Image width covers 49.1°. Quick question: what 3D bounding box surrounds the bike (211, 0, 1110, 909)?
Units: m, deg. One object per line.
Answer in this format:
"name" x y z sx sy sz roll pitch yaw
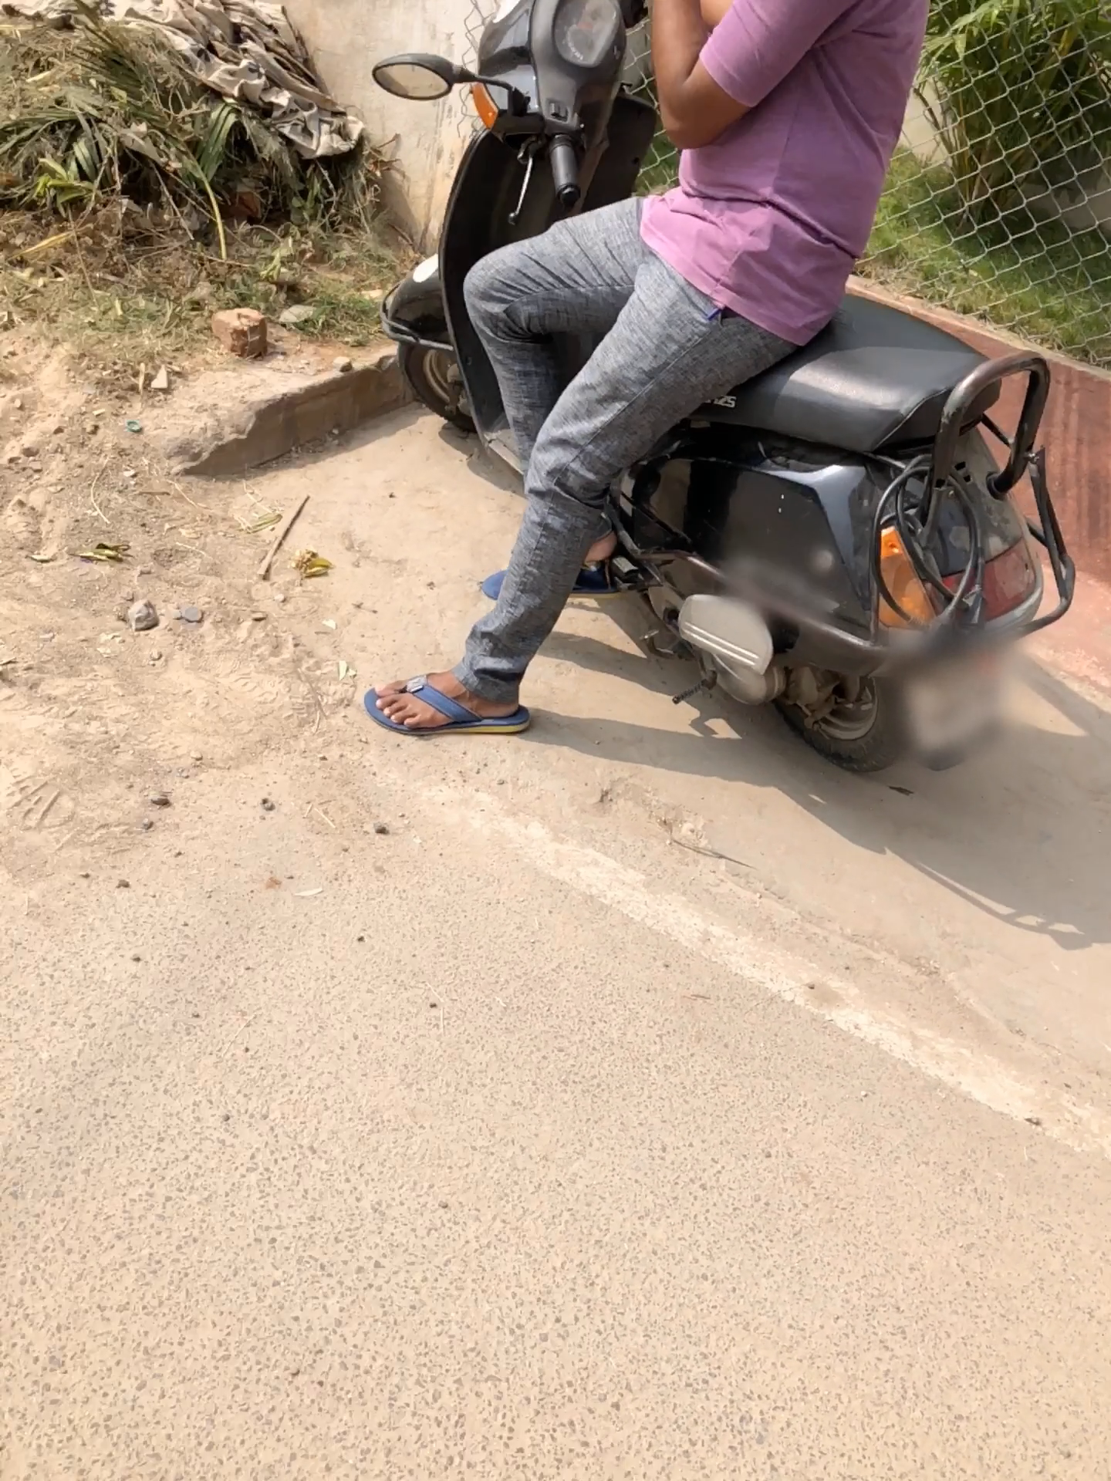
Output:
"bike" 0.089 -0.725 2.139 0.711 1.152 1.550 -17 45 -35
